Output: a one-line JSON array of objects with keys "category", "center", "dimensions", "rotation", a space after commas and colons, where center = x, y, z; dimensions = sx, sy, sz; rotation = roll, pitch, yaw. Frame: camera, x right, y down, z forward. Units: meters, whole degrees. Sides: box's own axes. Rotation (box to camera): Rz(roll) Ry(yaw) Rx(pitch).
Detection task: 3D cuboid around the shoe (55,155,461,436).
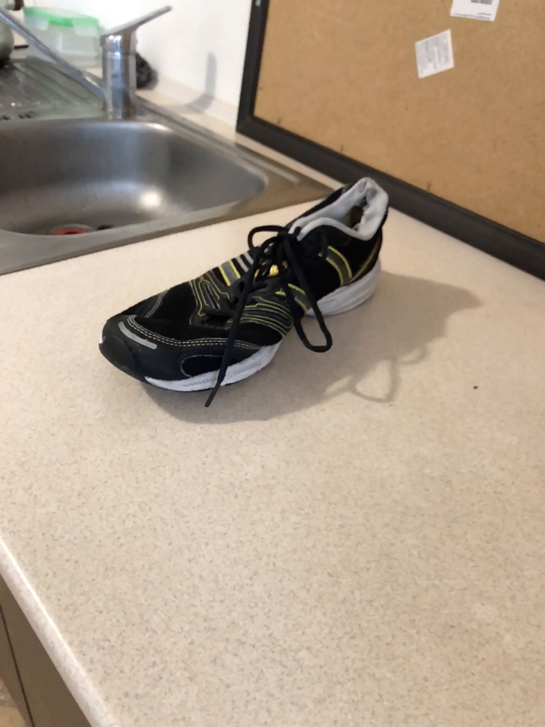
[{"category": "shoe", "center": [0.006, -0.076, 0.474], "dimensions": [0.311, 0.099, 0.110], "rotation": [-26, 48, -38]}]
